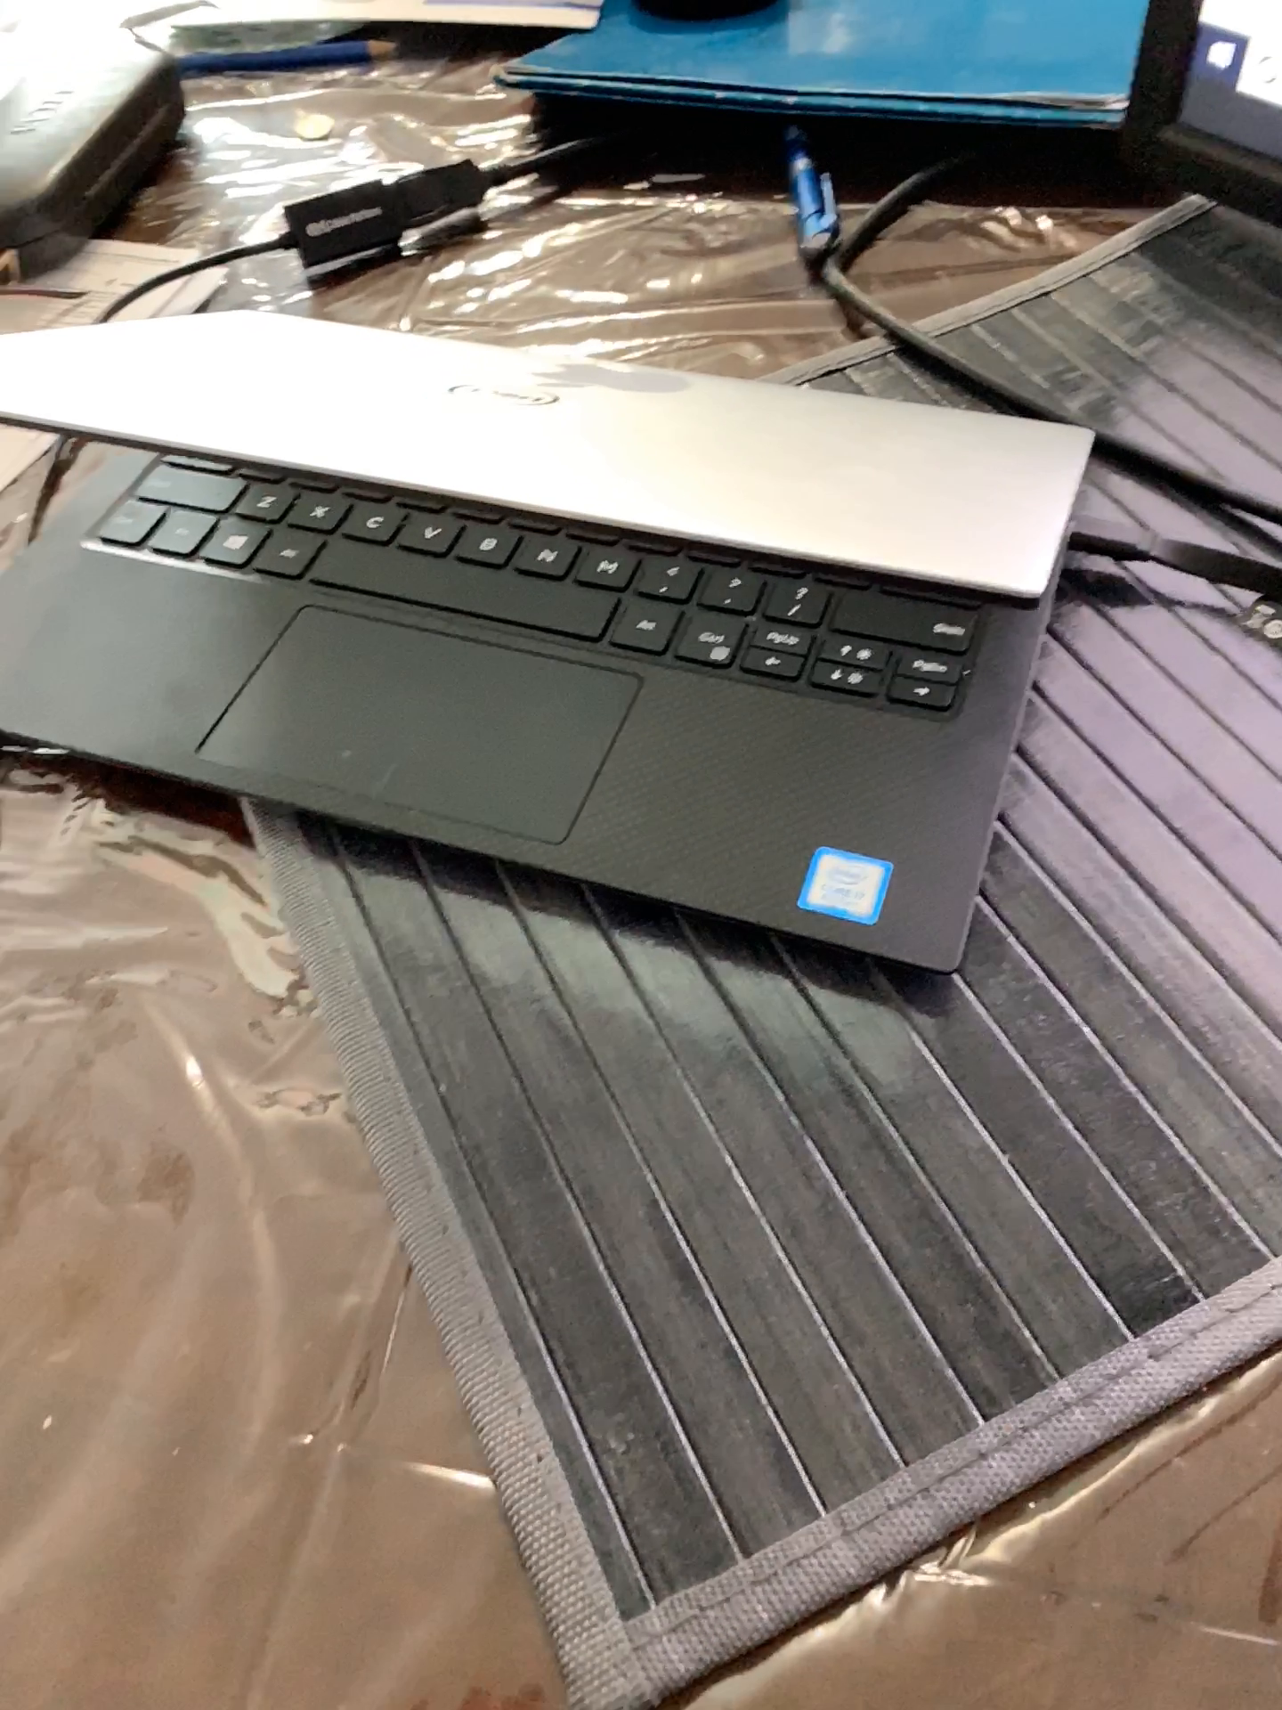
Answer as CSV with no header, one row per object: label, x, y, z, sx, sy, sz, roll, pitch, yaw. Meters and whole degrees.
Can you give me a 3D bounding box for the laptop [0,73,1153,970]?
laptop,-0.040,-0.104,0.339,0.290,0.081,0.183,14,56,15
